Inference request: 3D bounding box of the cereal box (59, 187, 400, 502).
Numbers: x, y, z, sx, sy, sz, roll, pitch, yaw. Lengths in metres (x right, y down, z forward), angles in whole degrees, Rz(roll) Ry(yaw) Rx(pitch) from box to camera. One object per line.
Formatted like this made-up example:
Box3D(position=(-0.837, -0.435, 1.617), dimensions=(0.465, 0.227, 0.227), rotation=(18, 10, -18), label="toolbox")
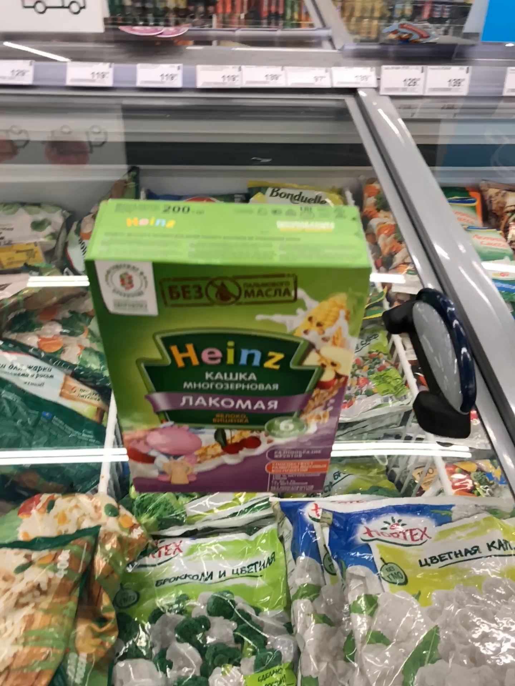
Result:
Box3D(position=(-0.015, 0.016, 0.320), dimensions=(0.140, 0.199, 0.050), rotation=(1, 45, -2), label="cereal box")
